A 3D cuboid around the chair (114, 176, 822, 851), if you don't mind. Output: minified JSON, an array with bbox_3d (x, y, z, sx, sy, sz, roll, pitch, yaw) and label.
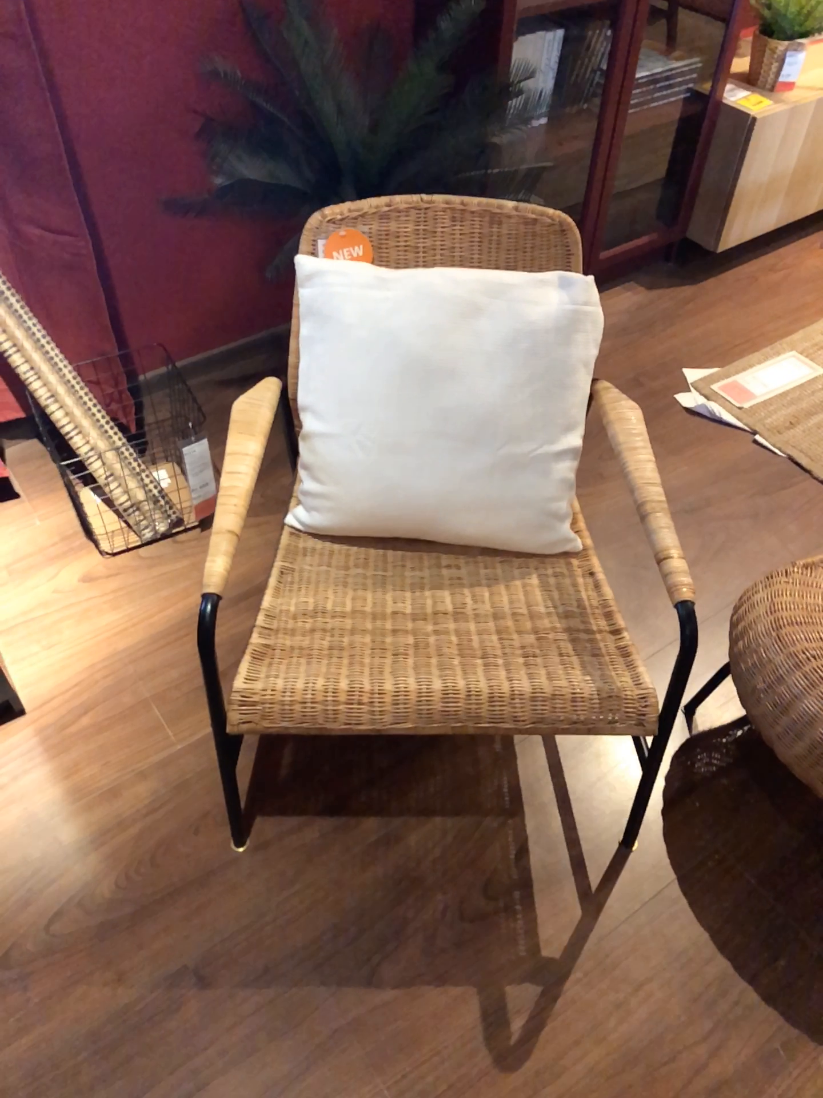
[{"bbox_3d":[0.049,-0.042,1.309,0.670,0.705,0.664,0,47,-2],"label":"chair"}]
